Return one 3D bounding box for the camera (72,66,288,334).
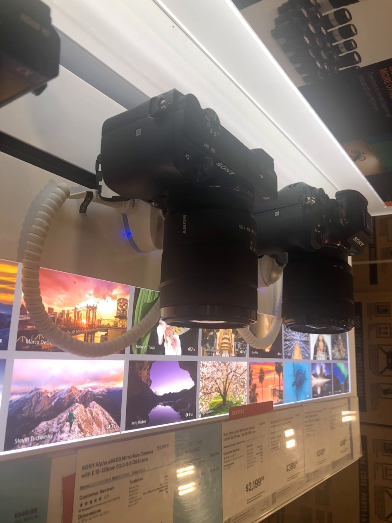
[{"bbox_3d":[0.001,-0.023,0.288,0.131,0.070,0.130,21,68,-52],"label":"camera"}]
